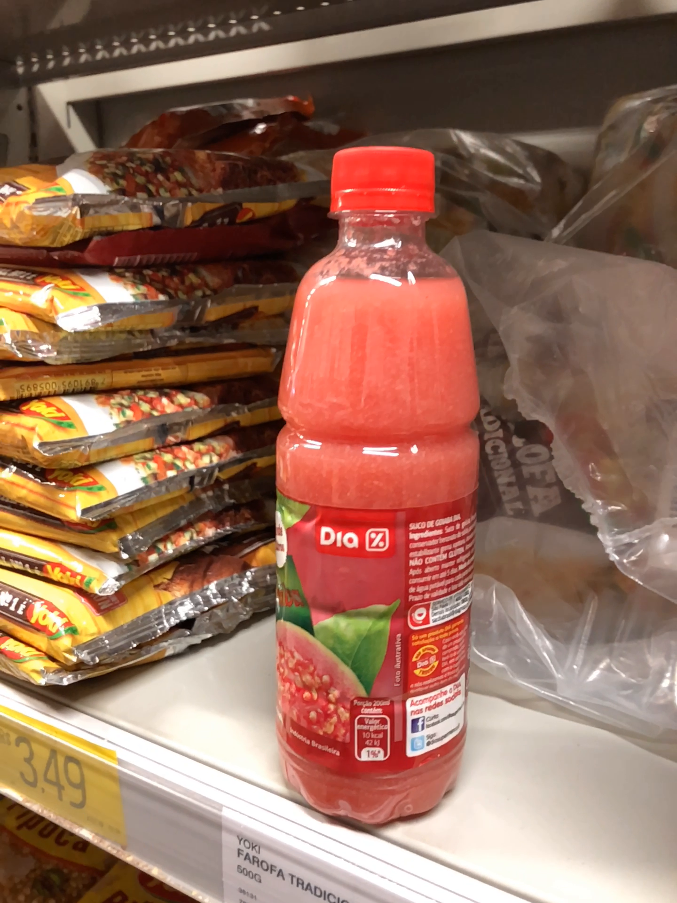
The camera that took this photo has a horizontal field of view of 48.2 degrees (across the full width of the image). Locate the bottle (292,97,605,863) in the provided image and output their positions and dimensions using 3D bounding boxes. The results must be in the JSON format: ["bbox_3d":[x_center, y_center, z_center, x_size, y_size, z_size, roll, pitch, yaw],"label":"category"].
[{"bbox_3d":[0.026,0.010,0.249,0.070,0.219,0.070,1,14,0],"label":"bottle"}]
